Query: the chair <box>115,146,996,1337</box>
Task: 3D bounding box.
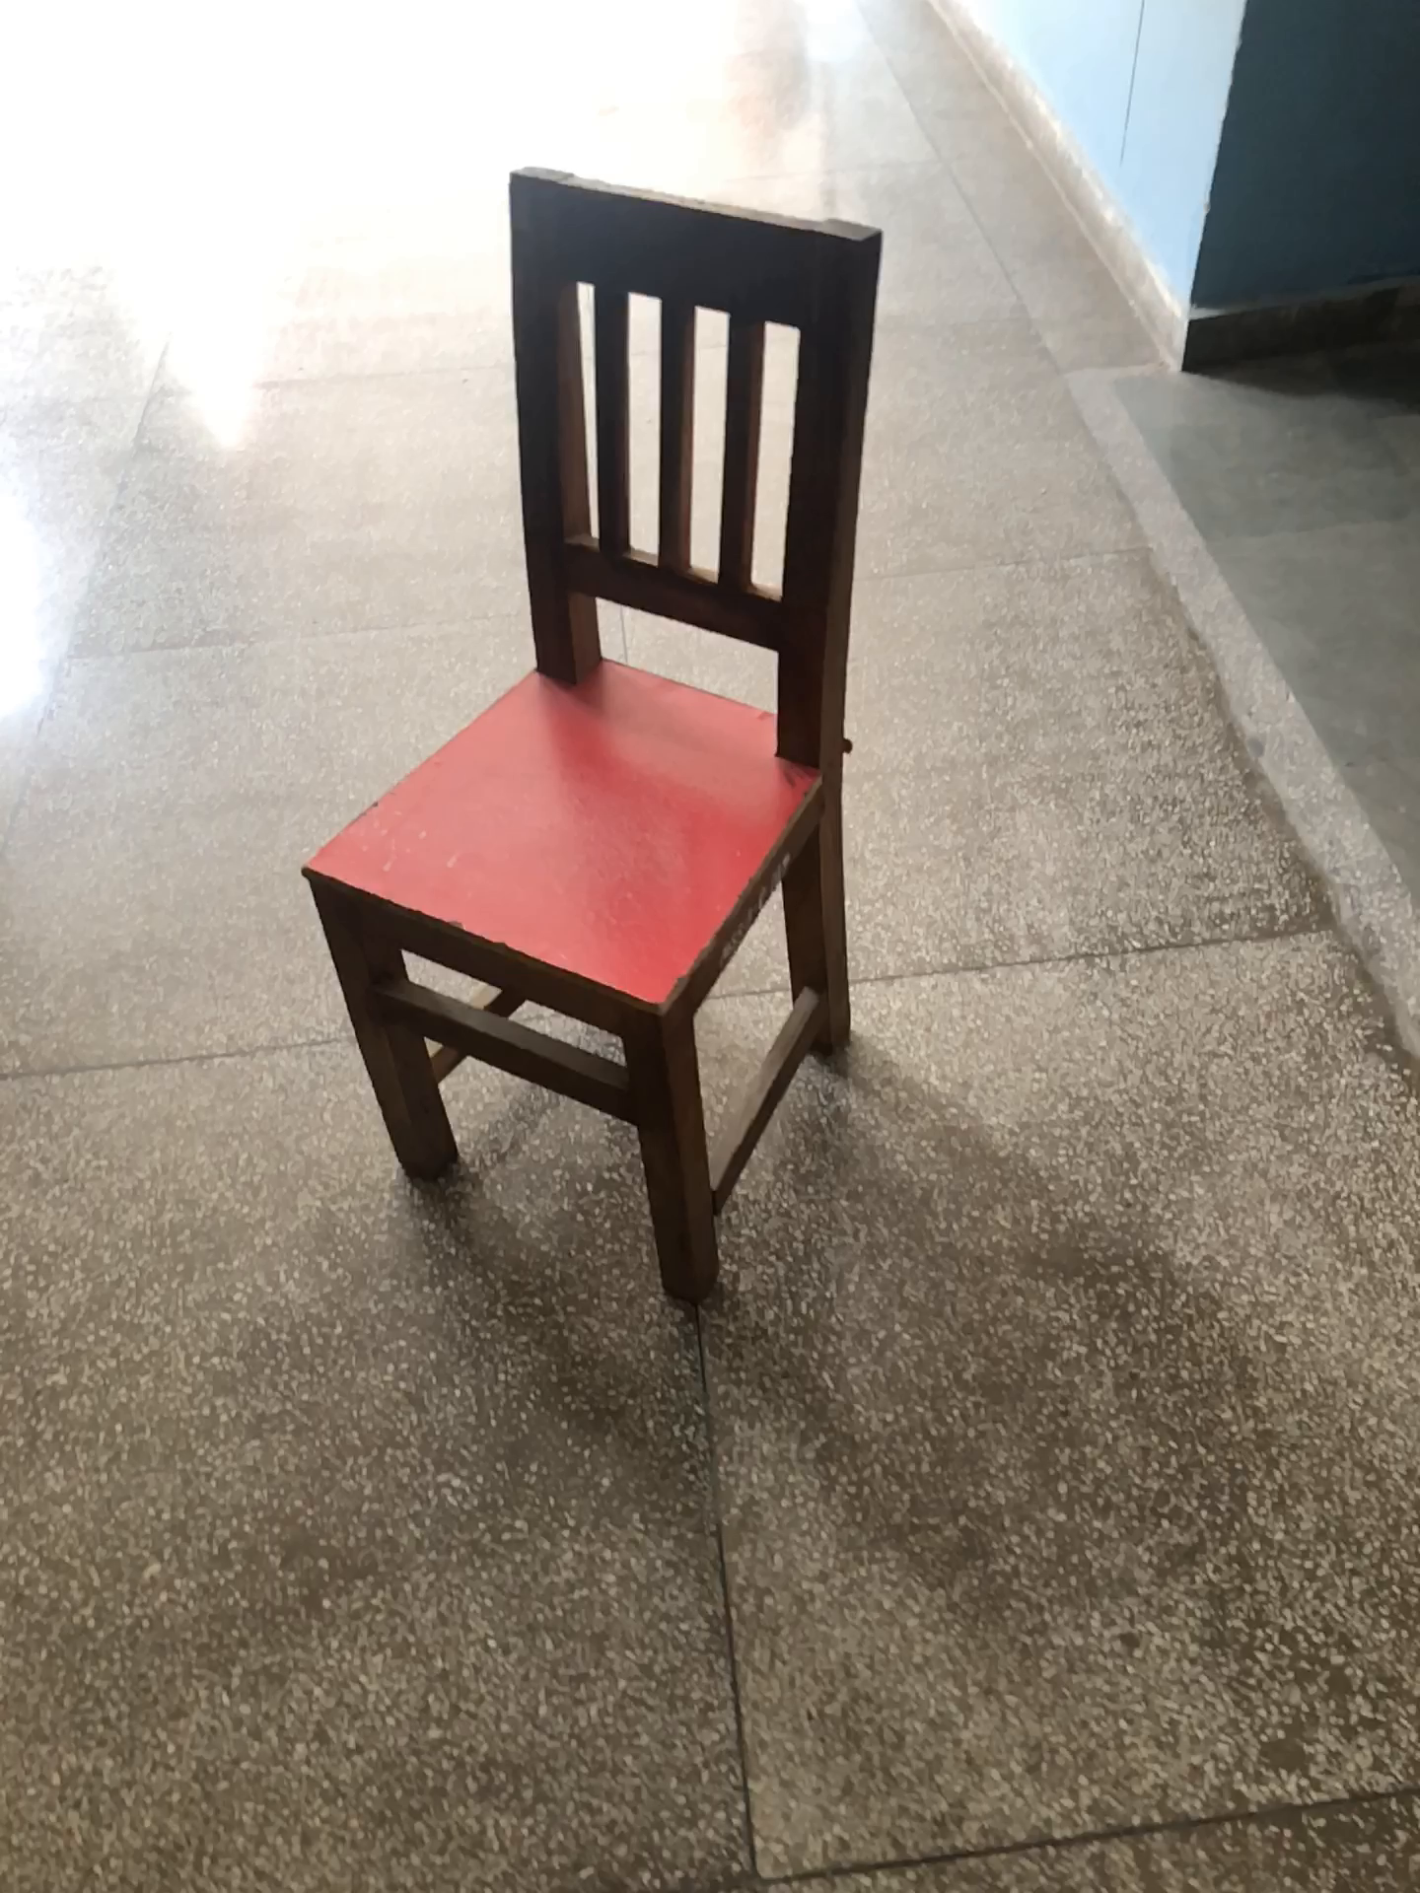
[{"bbox_3d":[-0.076,-0.145,1.351,0.401,0.817,0.481,21,50,20],"label":"chair"}]
